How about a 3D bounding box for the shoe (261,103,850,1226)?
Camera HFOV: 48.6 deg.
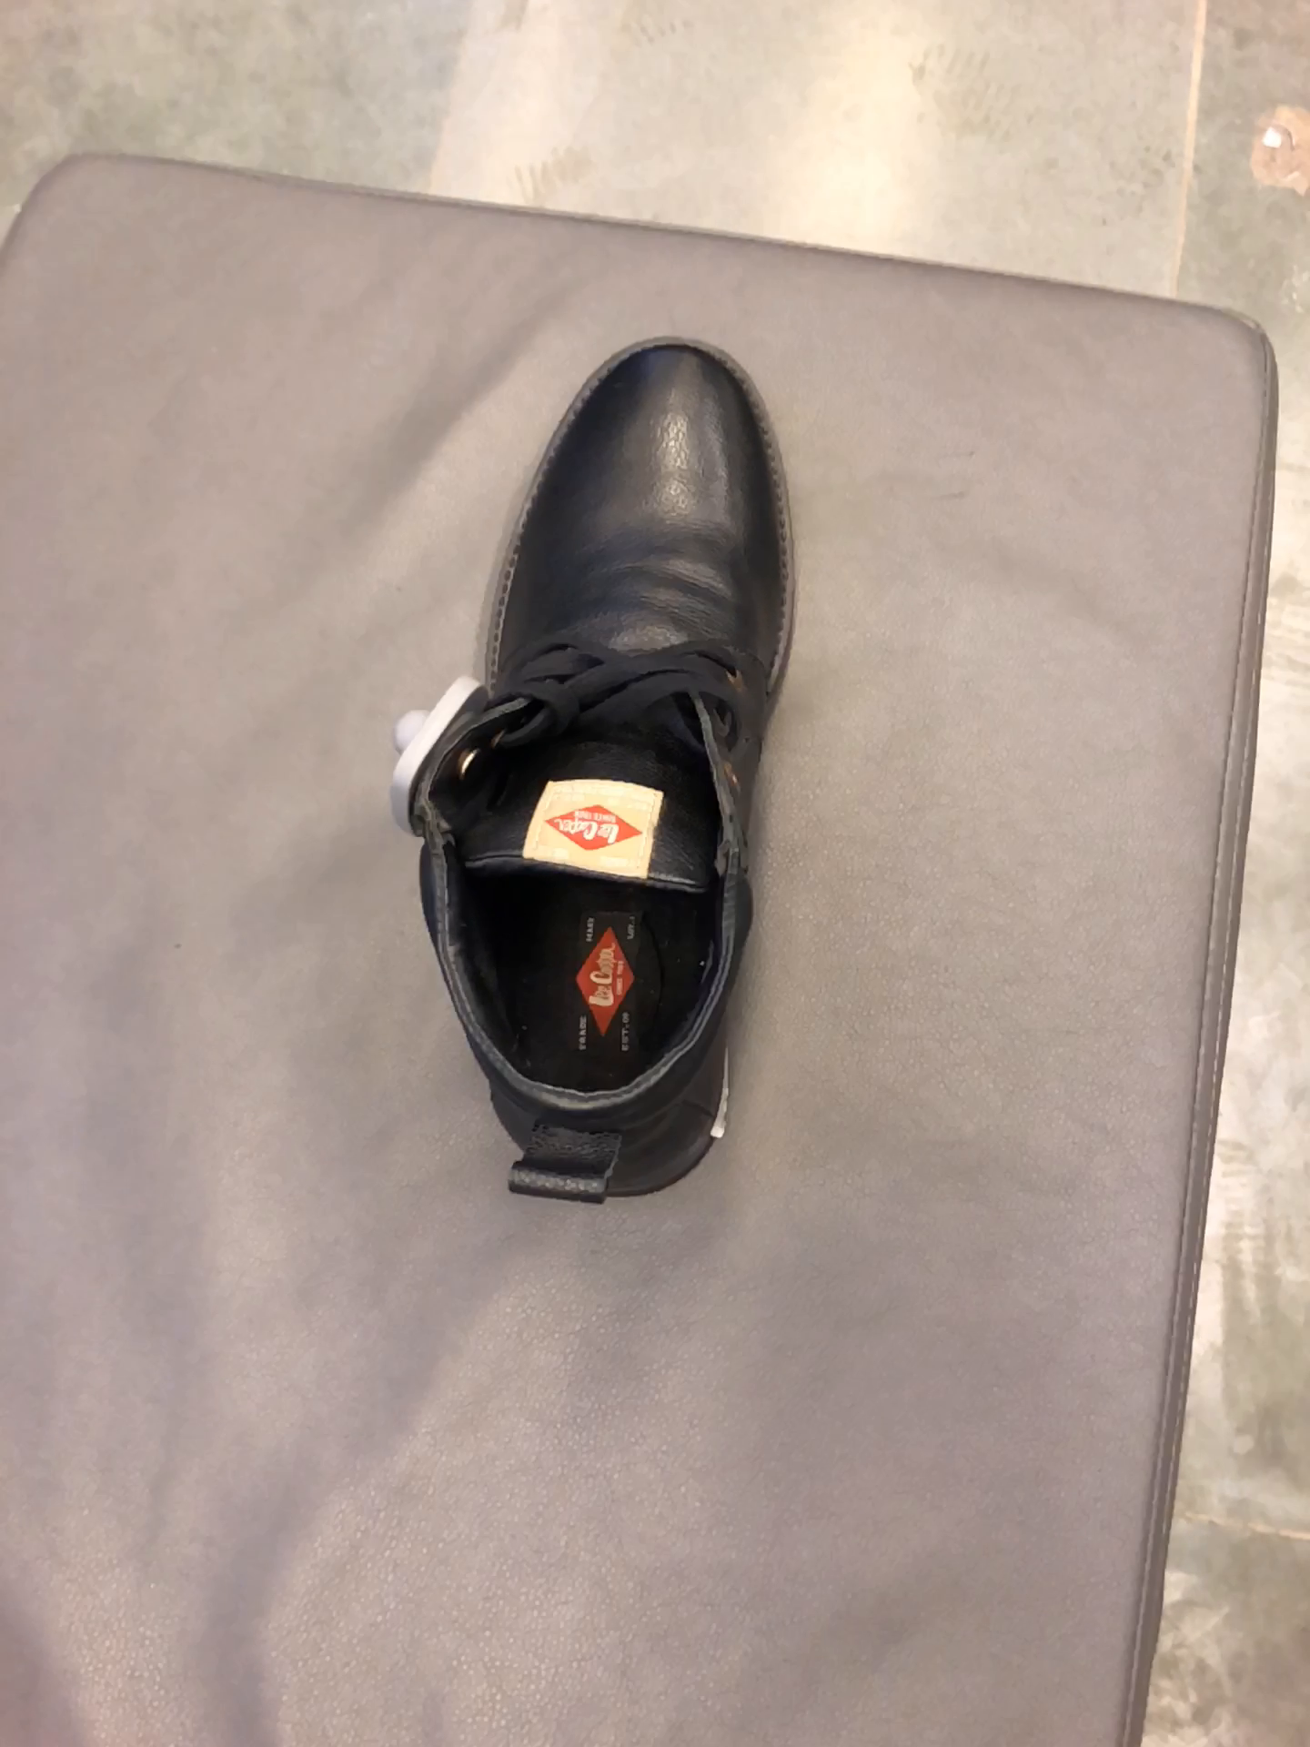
[{"bbox_3d":[-0.014,-0.050,0.427,0.111,0.149,0.284,5,74,4],"label":"shoe"}]
